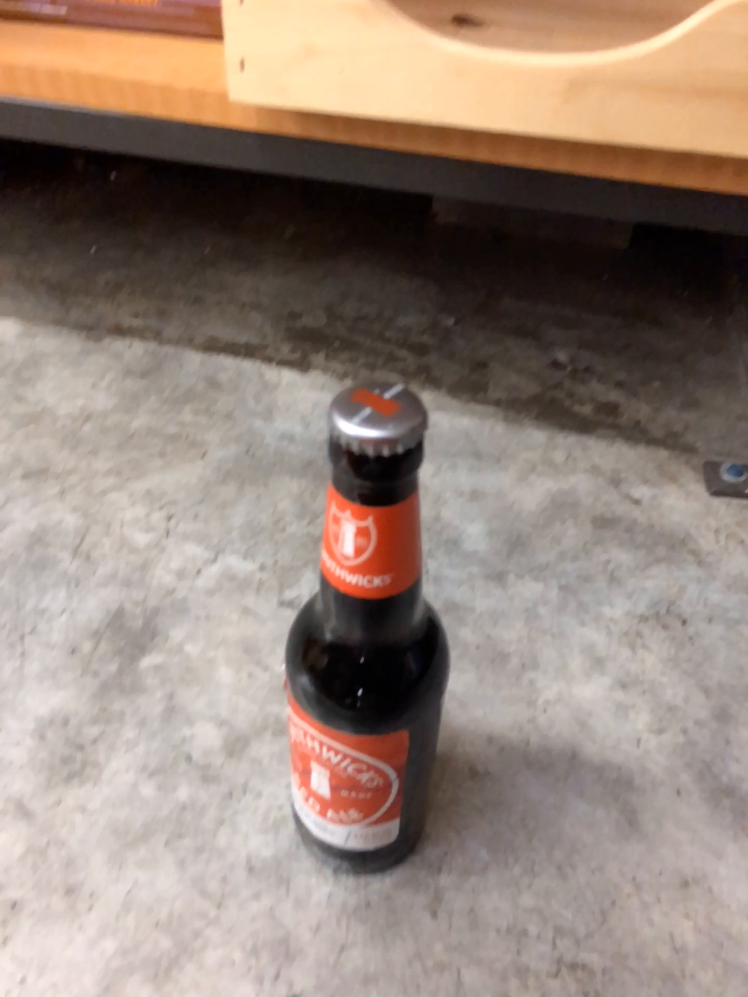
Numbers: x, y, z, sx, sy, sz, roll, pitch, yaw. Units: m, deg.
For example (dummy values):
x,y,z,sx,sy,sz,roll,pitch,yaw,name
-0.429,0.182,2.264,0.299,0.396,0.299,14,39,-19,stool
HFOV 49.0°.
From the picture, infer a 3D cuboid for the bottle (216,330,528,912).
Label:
x,y,z,sx,sy,sz,roll,pitch,yaw,name
-0.004,0.058,0.293,0.059,0.220,0.060,2,42,-2,bottle
